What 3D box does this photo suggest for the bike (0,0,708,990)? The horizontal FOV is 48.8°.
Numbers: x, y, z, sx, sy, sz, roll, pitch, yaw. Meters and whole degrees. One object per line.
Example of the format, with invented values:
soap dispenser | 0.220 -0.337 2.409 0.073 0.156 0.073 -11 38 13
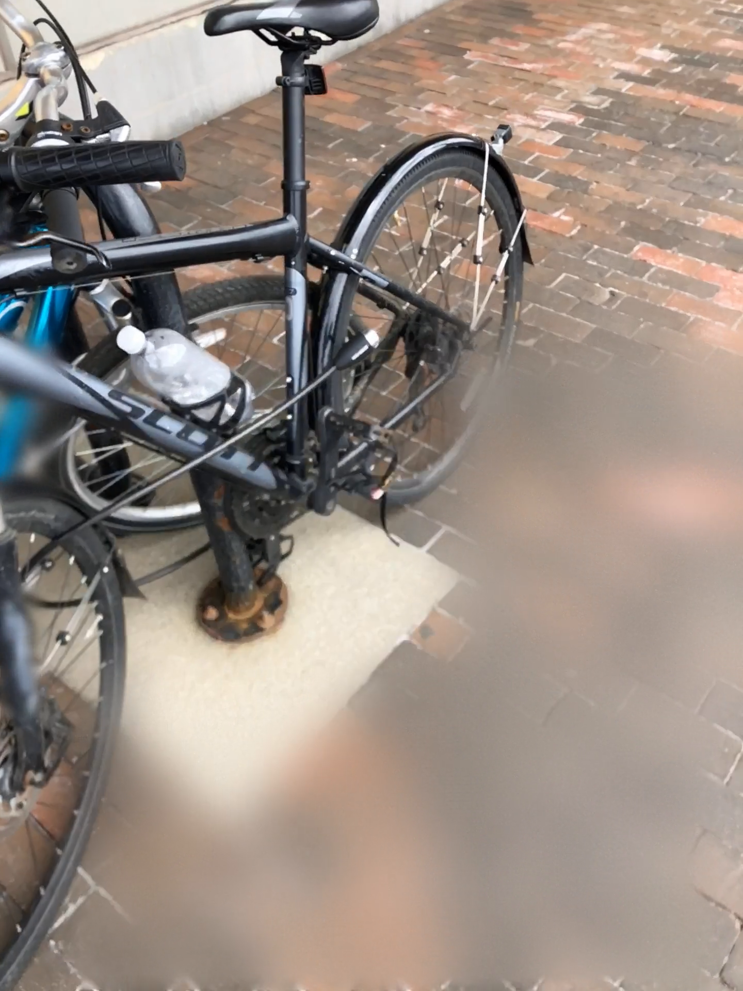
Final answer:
bike | -0.211 -0.088 1.092 0.673 0.940 1.517 22 53 23
